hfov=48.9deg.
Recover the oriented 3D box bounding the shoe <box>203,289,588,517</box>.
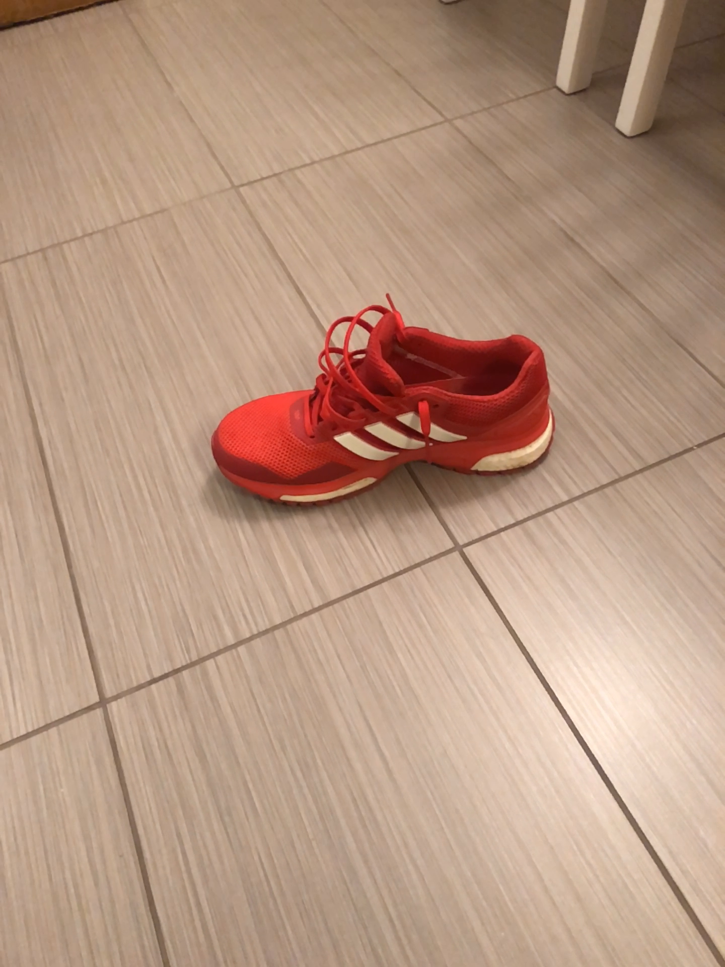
[{"bbox_3d":[0.023,-0.067,0.672,0.290,0.100,0.121,-7,51,1],"label":"shoe"}]
